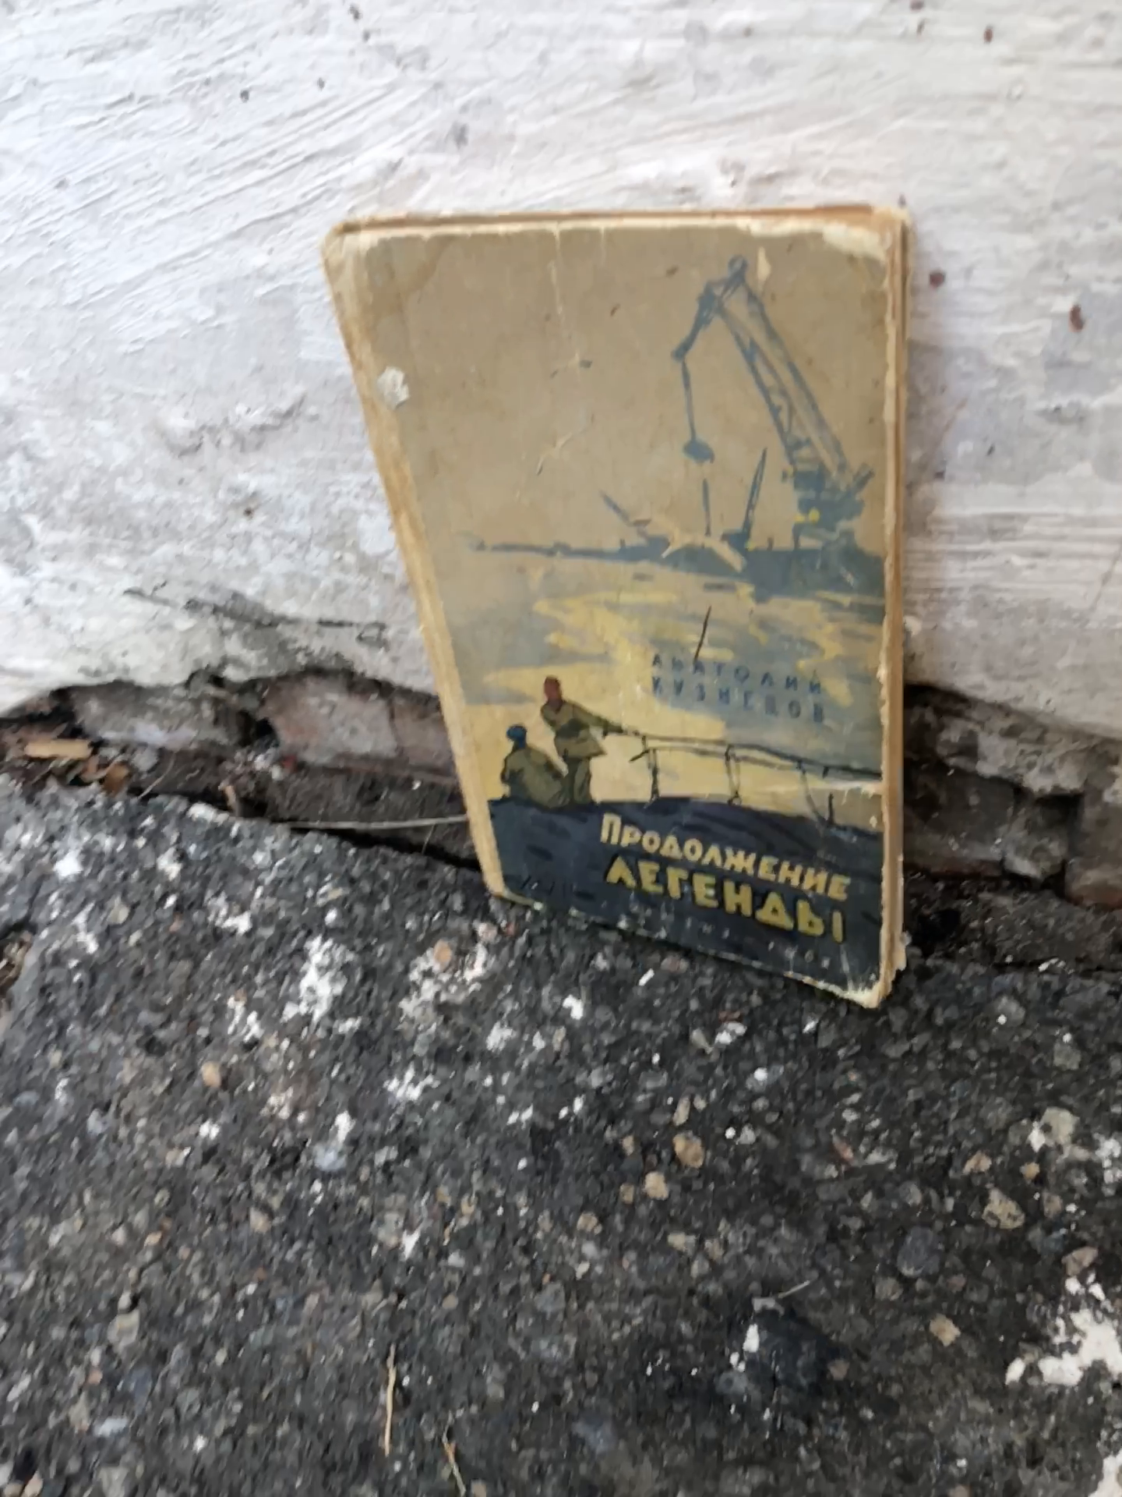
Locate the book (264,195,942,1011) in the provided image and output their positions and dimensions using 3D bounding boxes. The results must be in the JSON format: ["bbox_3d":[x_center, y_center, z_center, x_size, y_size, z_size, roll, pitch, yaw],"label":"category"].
[{"bbox_3d":[0.012,-0.031,0.297,0.136,0.181,0.030,11,36,25],"label":"book"}]
